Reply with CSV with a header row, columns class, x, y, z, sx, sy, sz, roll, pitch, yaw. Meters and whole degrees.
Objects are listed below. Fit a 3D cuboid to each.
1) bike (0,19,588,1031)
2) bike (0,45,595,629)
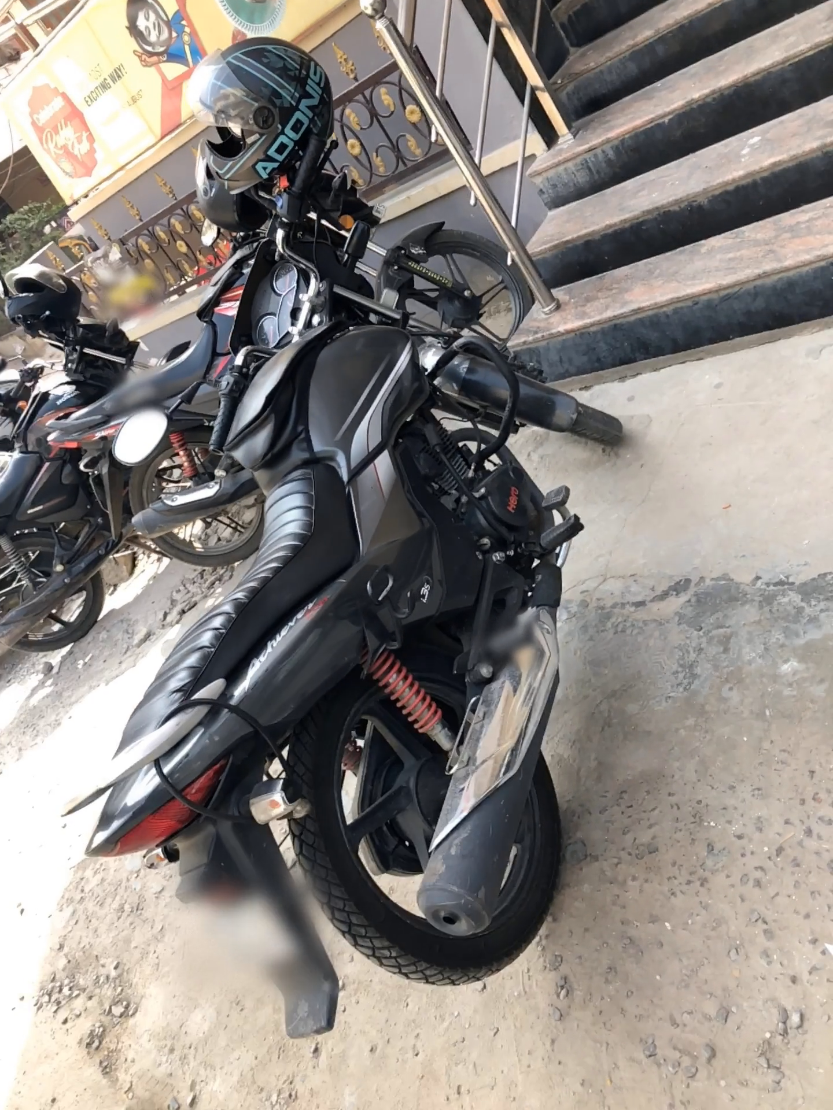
class,x,y,z,sx,sy,sz,roll,pitch,yaw
bike,-0.266,-0.165,1.971,0.747,1.156,1.743,-22,34,27
bike,-0.440,-0.717,3.116,1.599,1.057,0.687,-37,27,0
